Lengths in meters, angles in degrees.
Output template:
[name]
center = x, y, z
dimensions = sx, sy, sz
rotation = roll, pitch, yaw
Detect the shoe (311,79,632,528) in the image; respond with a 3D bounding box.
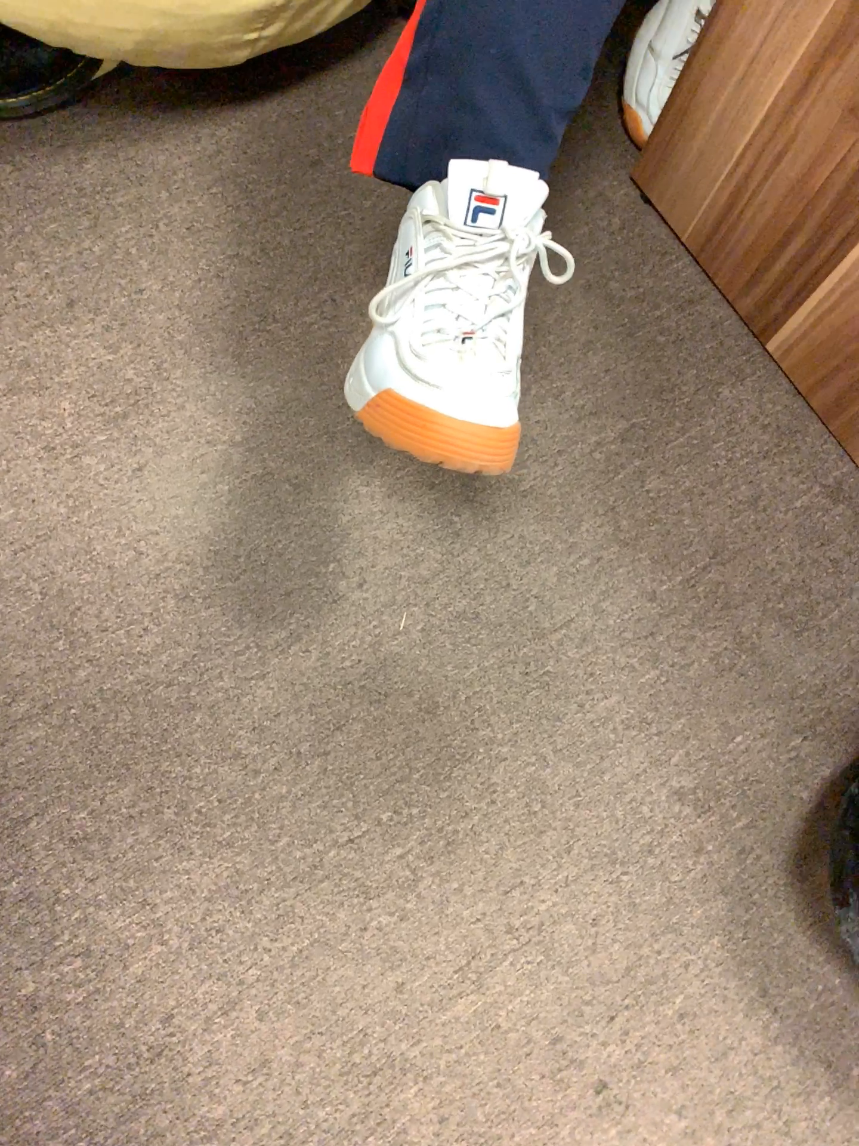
[shoe]
center = 0.020, -0.168, 0.532
dimensions = 0.130, 0.130, 0.230
rotation = 14, 47, -12
